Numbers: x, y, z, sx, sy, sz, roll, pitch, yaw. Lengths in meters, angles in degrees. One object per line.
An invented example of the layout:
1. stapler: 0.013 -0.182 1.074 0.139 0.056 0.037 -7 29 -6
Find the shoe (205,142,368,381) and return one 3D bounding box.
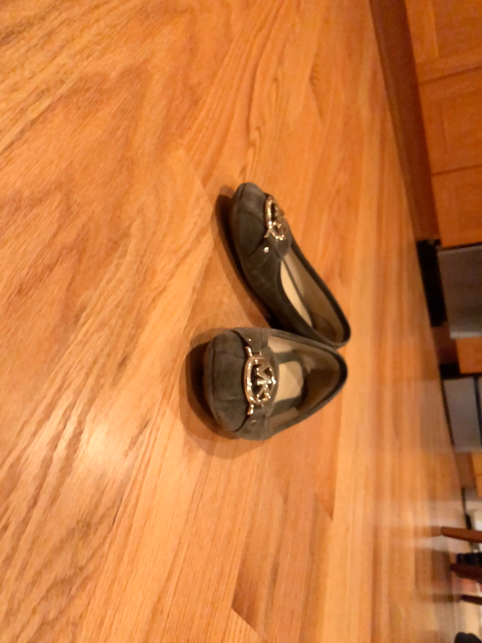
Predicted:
1. shoe: 0.060 -0.042 0.528 0.240 0.079 0.091 56 35 -47

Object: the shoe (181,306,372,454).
1. shoe: 0.046 0.050 0.461 0.243 0.079 0.091 13 72 -66
